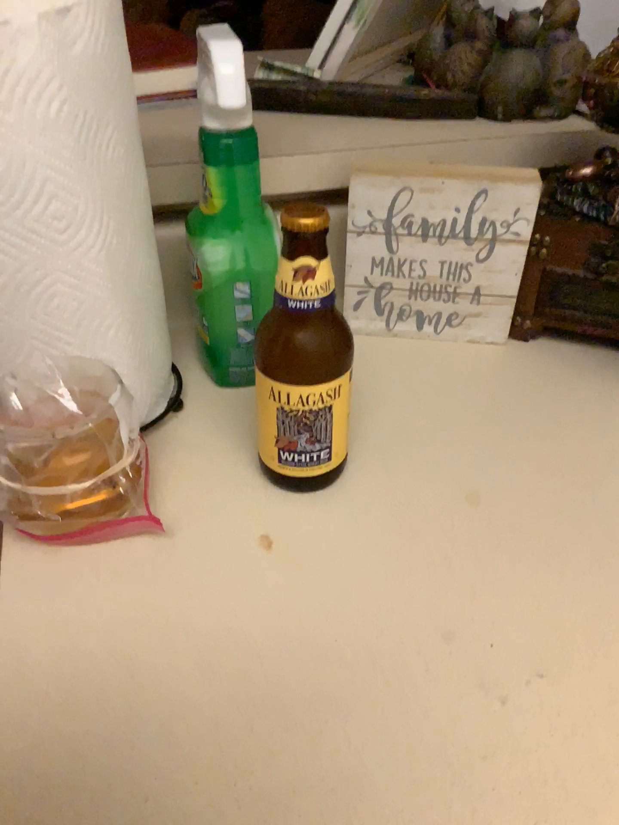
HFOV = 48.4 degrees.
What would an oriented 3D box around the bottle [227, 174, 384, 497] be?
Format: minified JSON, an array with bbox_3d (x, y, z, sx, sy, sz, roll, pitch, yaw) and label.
[{"bbox_3d":[-0.003,-0.043,0.439,0.080,0.190,0.080,0,36,0],"label":"bottle"}]
